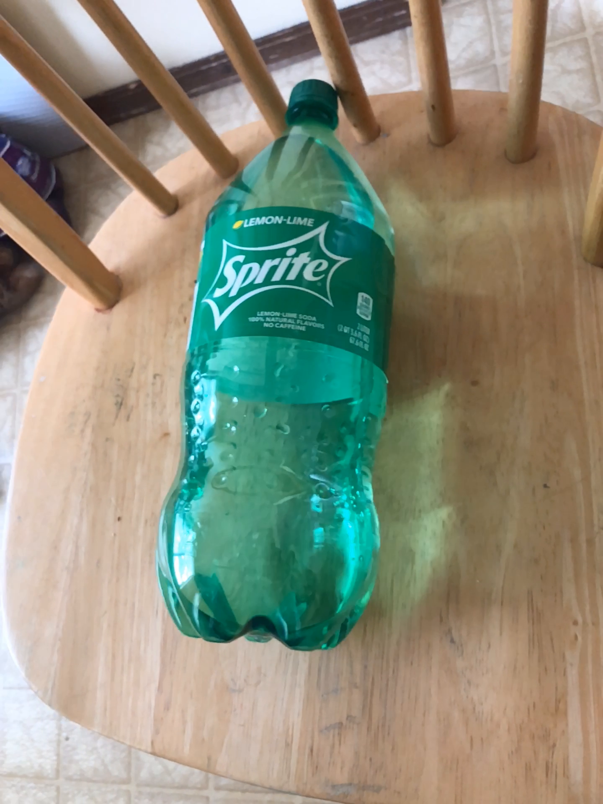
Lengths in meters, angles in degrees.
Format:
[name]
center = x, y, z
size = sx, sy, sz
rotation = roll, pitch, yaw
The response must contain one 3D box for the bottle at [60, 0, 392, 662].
[bottle]
center = -0.017, -0.037, 0.336
size = 0.110, 0.110, 0.300
rotation = 0, 73, 12
